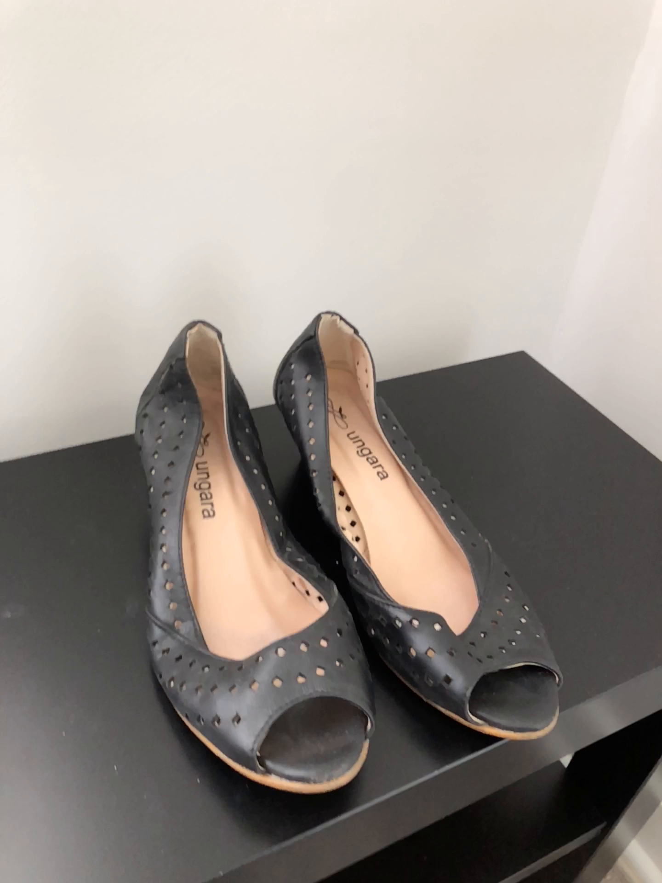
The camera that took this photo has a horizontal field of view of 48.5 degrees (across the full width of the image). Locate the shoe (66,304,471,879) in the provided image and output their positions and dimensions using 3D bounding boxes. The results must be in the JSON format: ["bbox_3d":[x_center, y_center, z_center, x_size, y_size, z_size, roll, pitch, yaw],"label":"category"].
[{"bbox_3d":[-0.047,0.041,0.329,0.085,0.100,0.231,-13,42,-23],"label":"shoe"}]

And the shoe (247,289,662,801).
[{"bbox_3d":[0.043,0.027,0.347,0.085,0.100,0.221,-14,42,-24],"label":"shoe"}]
